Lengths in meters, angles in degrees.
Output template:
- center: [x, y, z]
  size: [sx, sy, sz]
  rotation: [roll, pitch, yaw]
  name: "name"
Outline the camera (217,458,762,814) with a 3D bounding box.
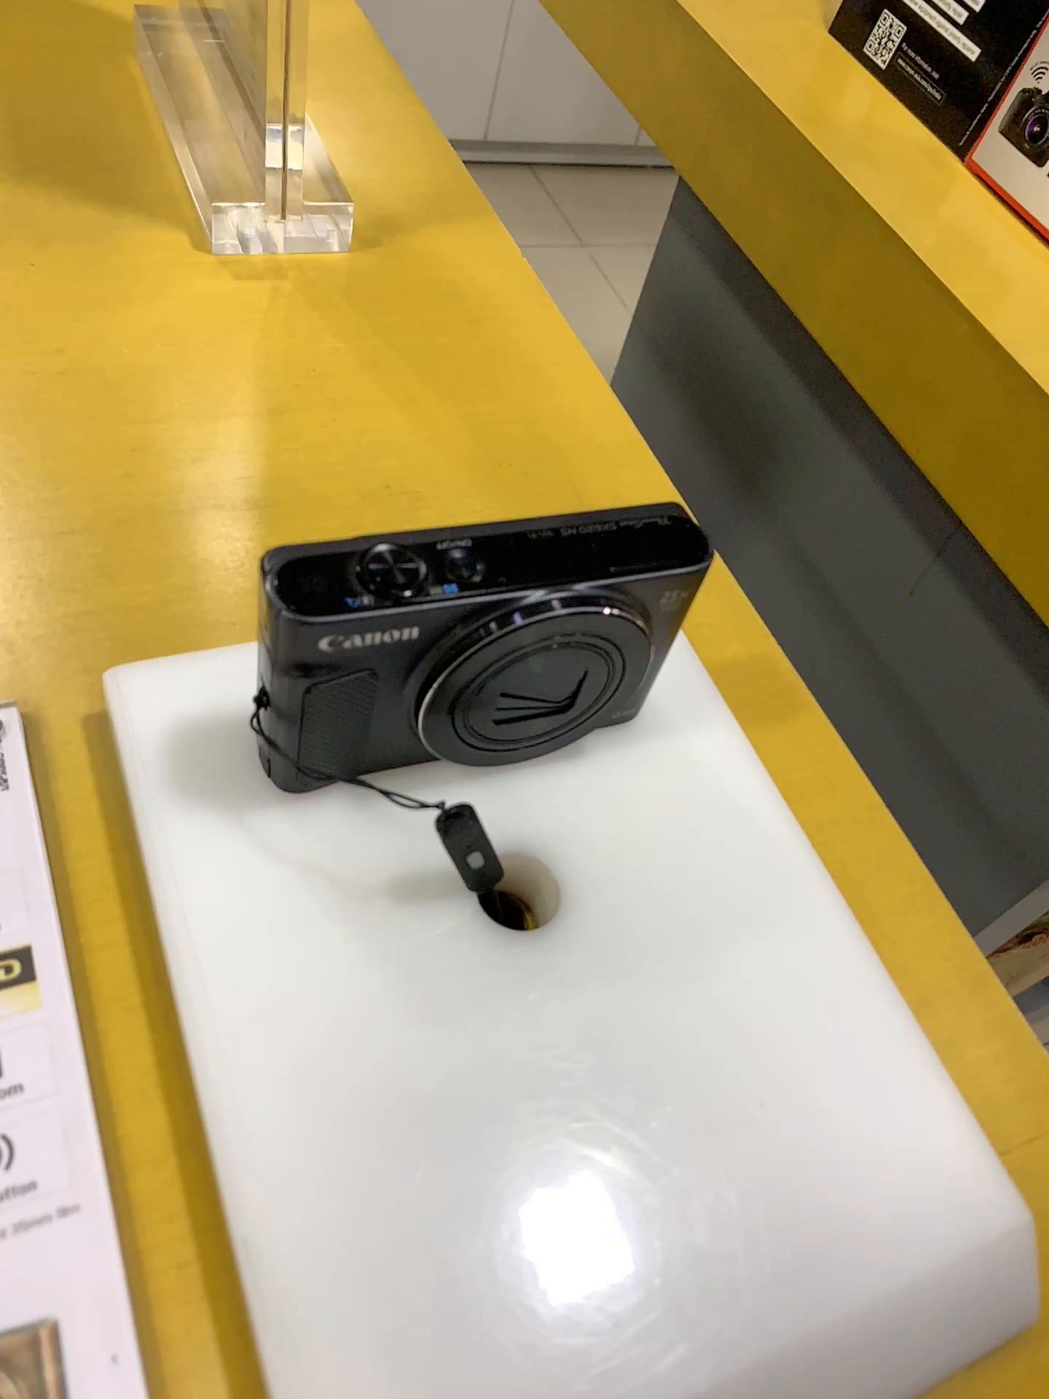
- center: [-0.010, -0.014, 0.225]
  size: [0.100, 0.060, 0.030]
  rotation: [-10, 56, -22]
  name: "camera"
